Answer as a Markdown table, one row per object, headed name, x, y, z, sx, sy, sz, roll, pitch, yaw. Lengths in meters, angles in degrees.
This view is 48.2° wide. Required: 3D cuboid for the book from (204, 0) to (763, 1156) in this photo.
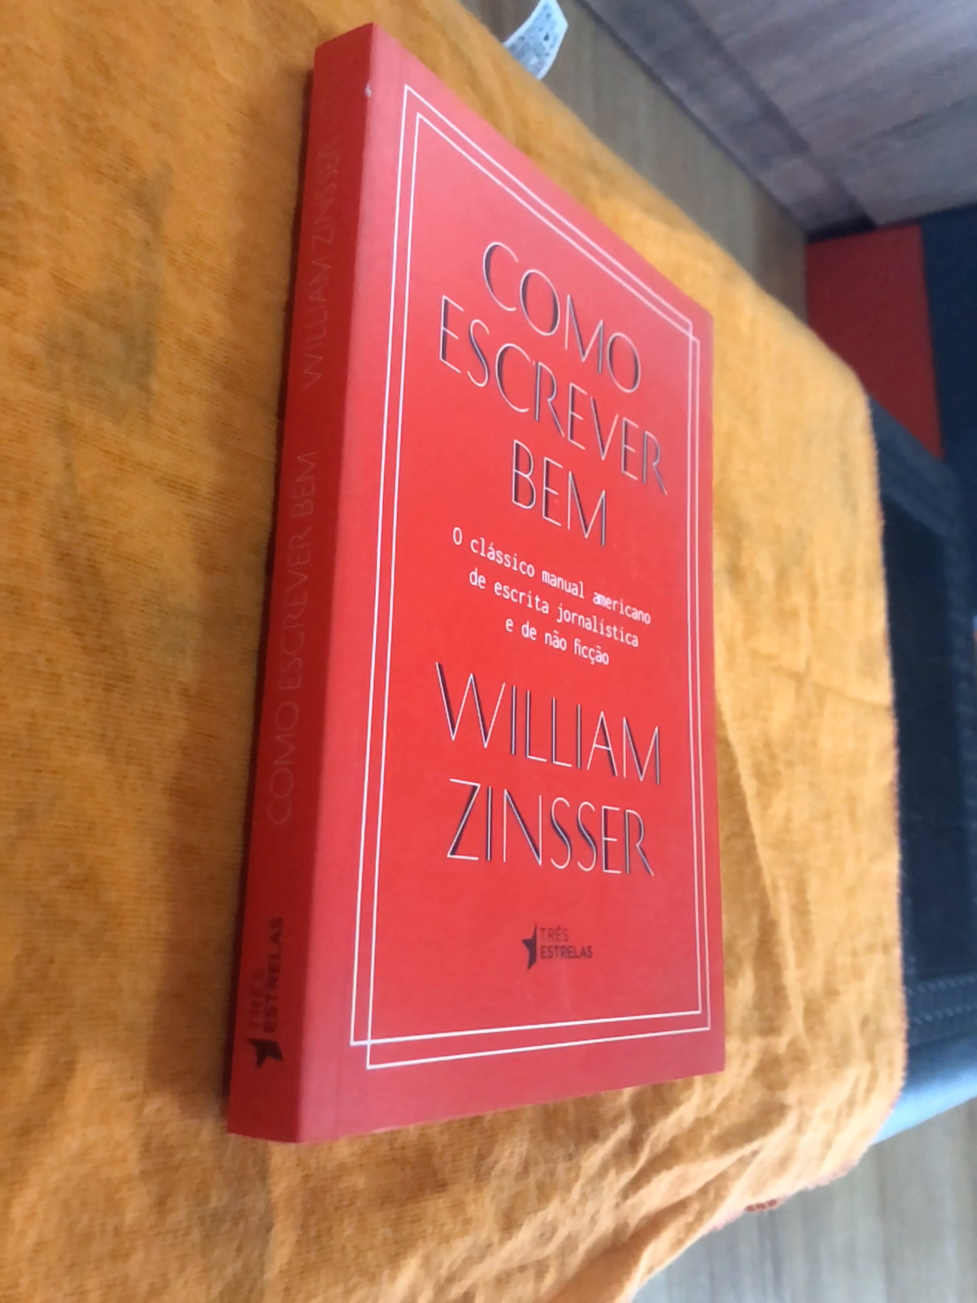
| name | x | y | z | sx | sy | sz | roll | pitch | yaw |
| --- | --- | --- | --- | --- | --- | --- | --- | --- | --- |
| book | 0.014 | -0.010 | 0.232 | 0.141 | 0.020 | 0.195 | 17 | 70 | -47 |
